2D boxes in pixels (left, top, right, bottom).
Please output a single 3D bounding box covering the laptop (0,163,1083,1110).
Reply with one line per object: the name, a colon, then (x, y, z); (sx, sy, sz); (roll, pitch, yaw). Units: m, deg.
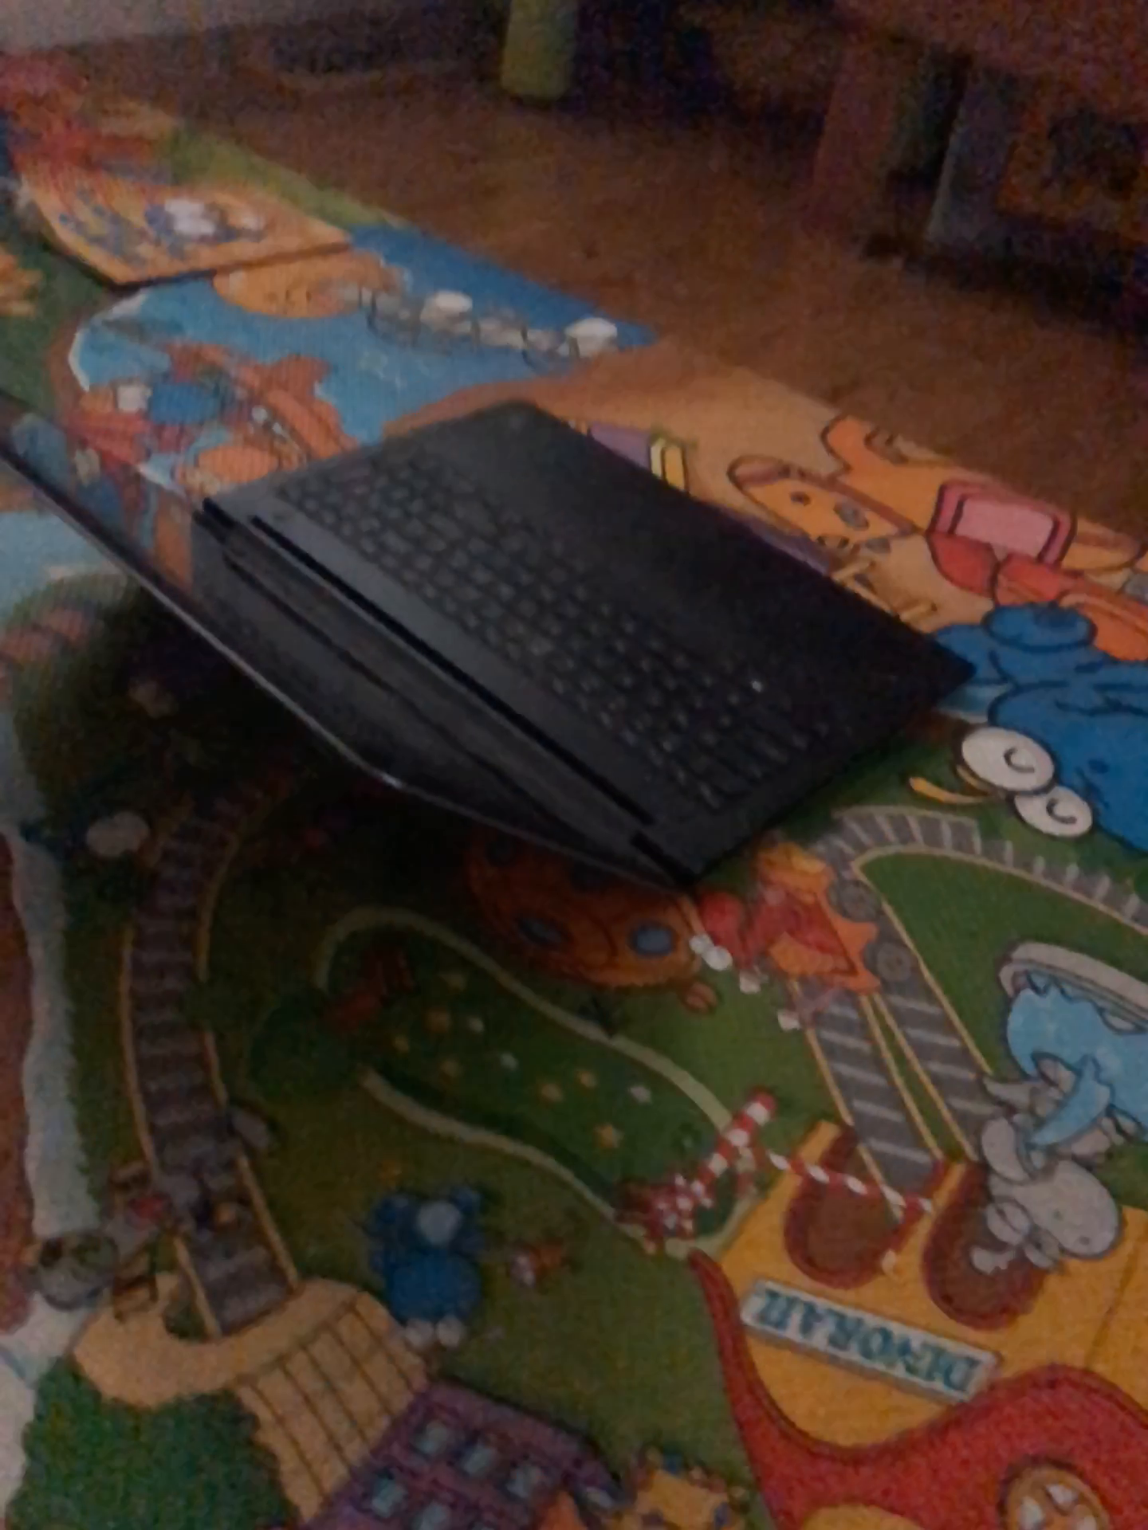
laptop: (-0.043, -0.123, 0.597); (0.362, 0.158, 0.429); (37, 47, 27)
